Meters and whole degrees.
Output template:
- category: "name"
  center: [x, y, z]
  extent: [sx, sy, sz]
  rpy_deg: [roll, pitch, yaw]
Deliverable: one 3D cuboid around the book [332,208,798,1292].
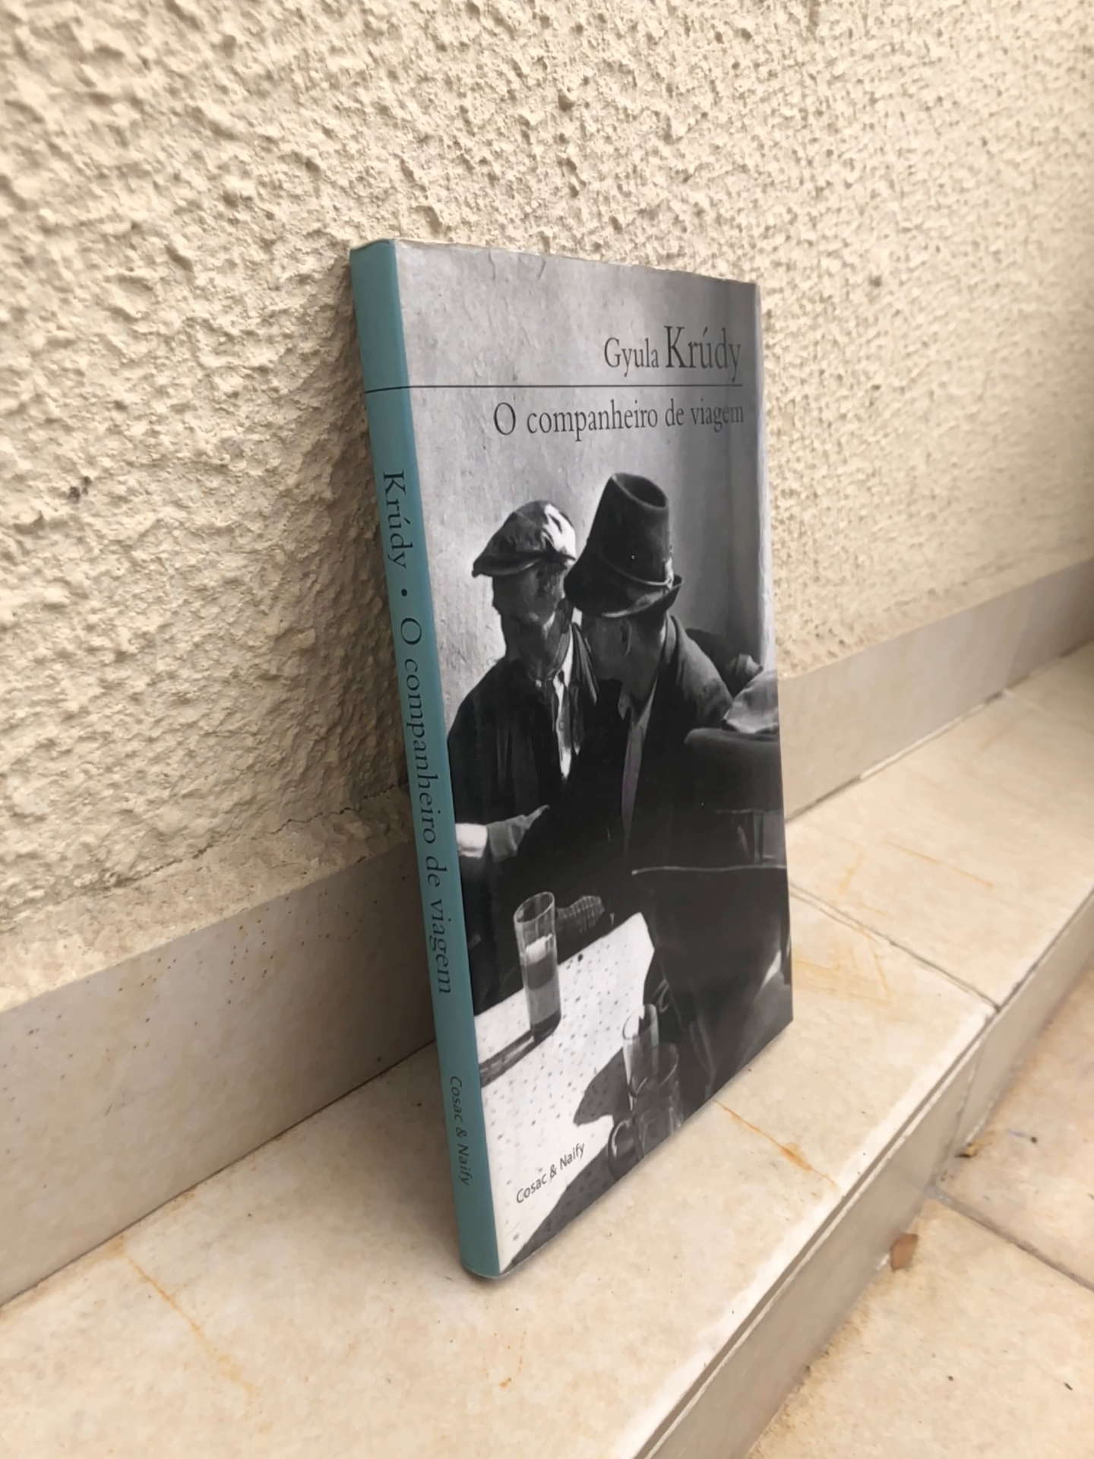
- category: "book"
  center: [0.017, -0.003, 0.283]
  extent: [0.019, 0.205, 0.138]
  rpy_deg: [4, 14, 36]
